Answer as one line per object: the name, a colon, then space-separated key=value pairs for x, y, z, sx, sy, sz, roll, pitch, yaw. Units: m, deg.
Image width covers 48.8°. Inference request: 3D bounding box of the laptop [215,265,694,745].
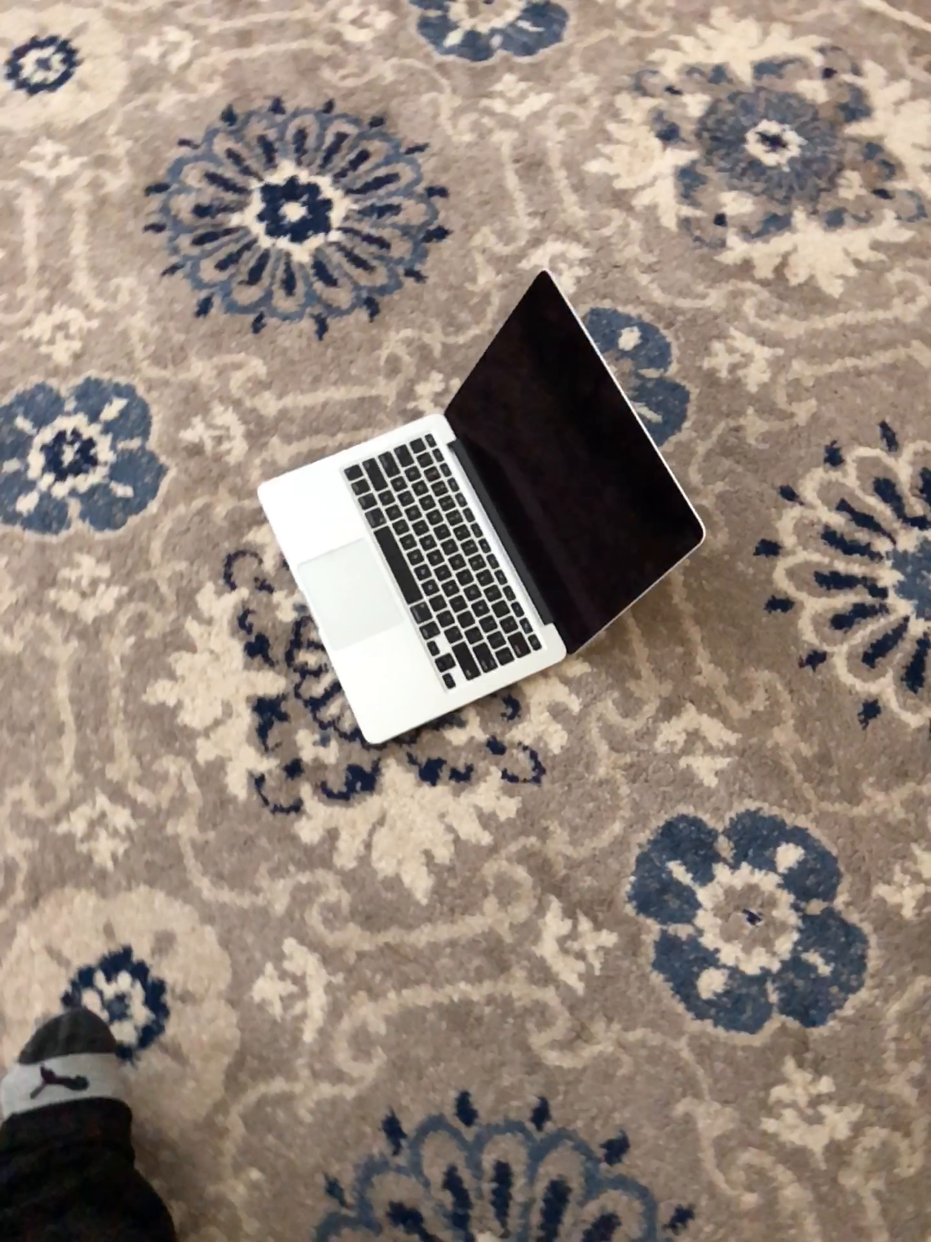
laptop: x=-0.012 y=-0.108 z=0.962 sx=0.322 sy=0.171 sz=0.300 roll=-24 pitch=72 yaw=-9
